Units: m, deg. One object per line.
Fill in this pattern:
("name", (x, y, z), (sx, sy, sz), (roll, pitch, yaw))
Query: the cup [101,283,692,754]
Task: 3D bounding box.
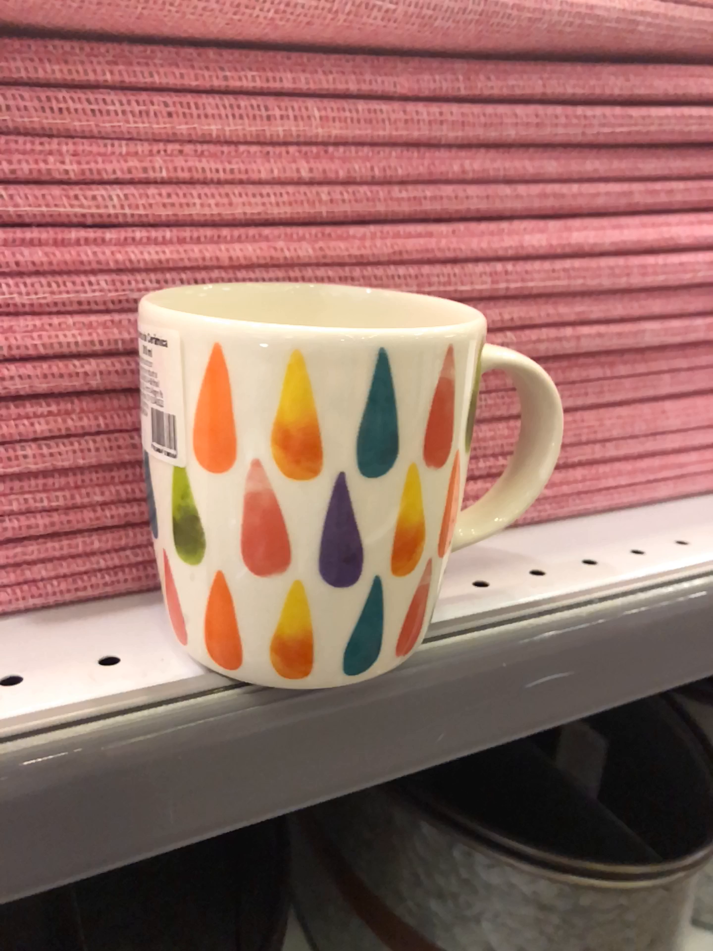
("cup", (0.006, -0.004, 0.227), (0.130, 0.089, 0.090), (-7, 21, -29))
